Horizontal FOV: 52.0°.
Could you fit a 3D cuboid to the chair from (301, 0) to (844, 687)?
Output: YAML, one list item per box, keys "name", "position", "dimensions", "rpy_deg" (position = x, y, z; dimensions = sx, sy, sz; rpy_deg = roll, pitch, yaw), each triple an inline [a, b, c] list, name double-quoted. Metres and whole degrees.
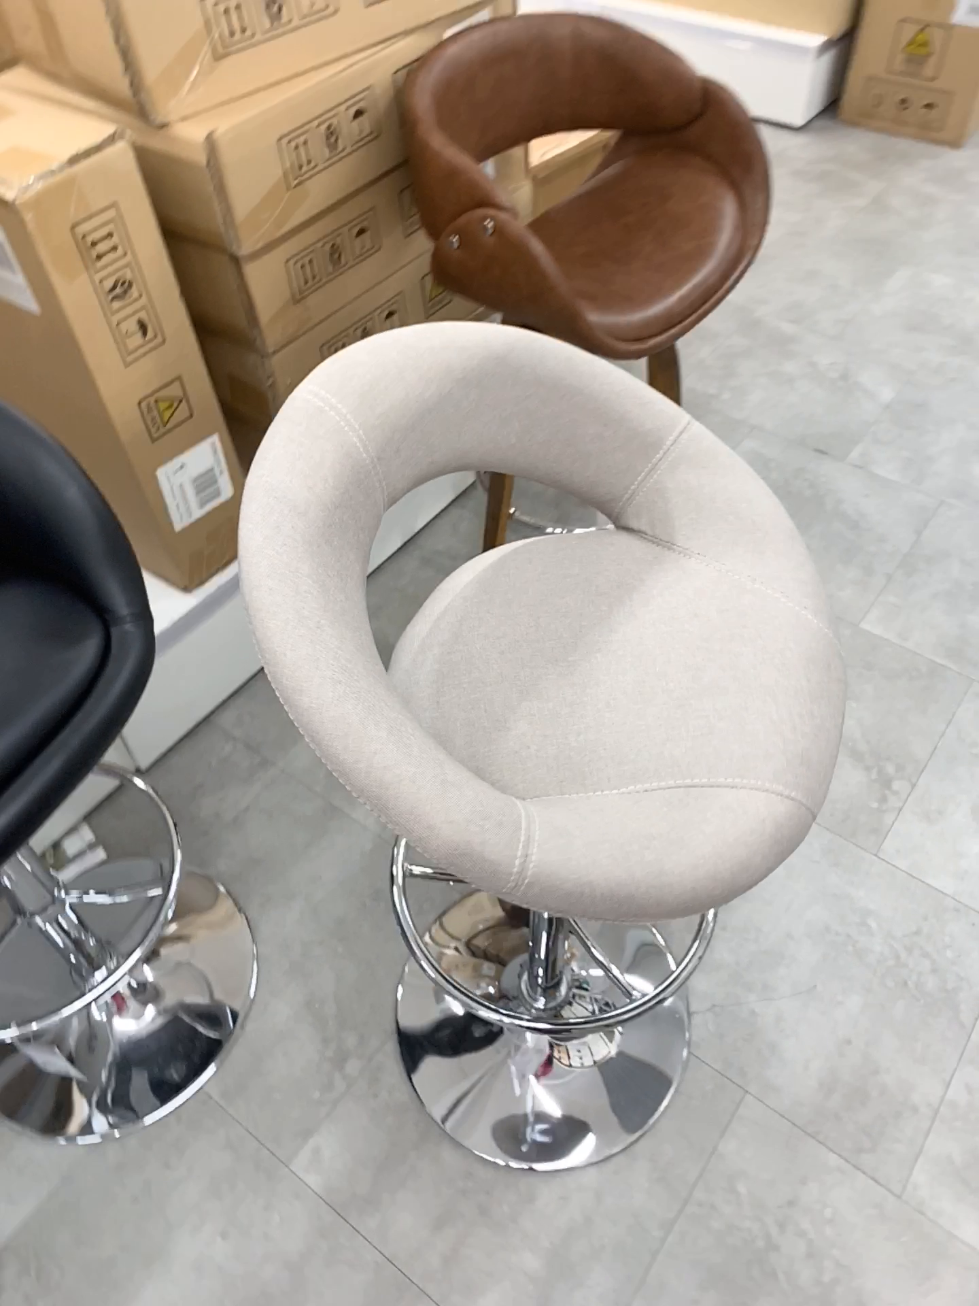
- name: "chair"
  position: [0.118, -0.506, 1.715]
  dimensions: [0.518, 0.865, 0.546]
  rpy_deg: [-34, 56, -24]

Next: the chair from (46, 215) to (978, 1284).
- name: "chair"
  position: [0.080, 0.171, 1.076]
  dimensions: [0.484, 0.964, 0.570]
  rpy_deg: [19, 53, 17]

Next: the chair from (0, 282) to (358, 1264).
- name: "chair"
  position: [-0.550, 0.196, 1.121]
  dimensions: [0.484, 0.934, 0.519]
  rpy_deg: [21, 53, 19]
